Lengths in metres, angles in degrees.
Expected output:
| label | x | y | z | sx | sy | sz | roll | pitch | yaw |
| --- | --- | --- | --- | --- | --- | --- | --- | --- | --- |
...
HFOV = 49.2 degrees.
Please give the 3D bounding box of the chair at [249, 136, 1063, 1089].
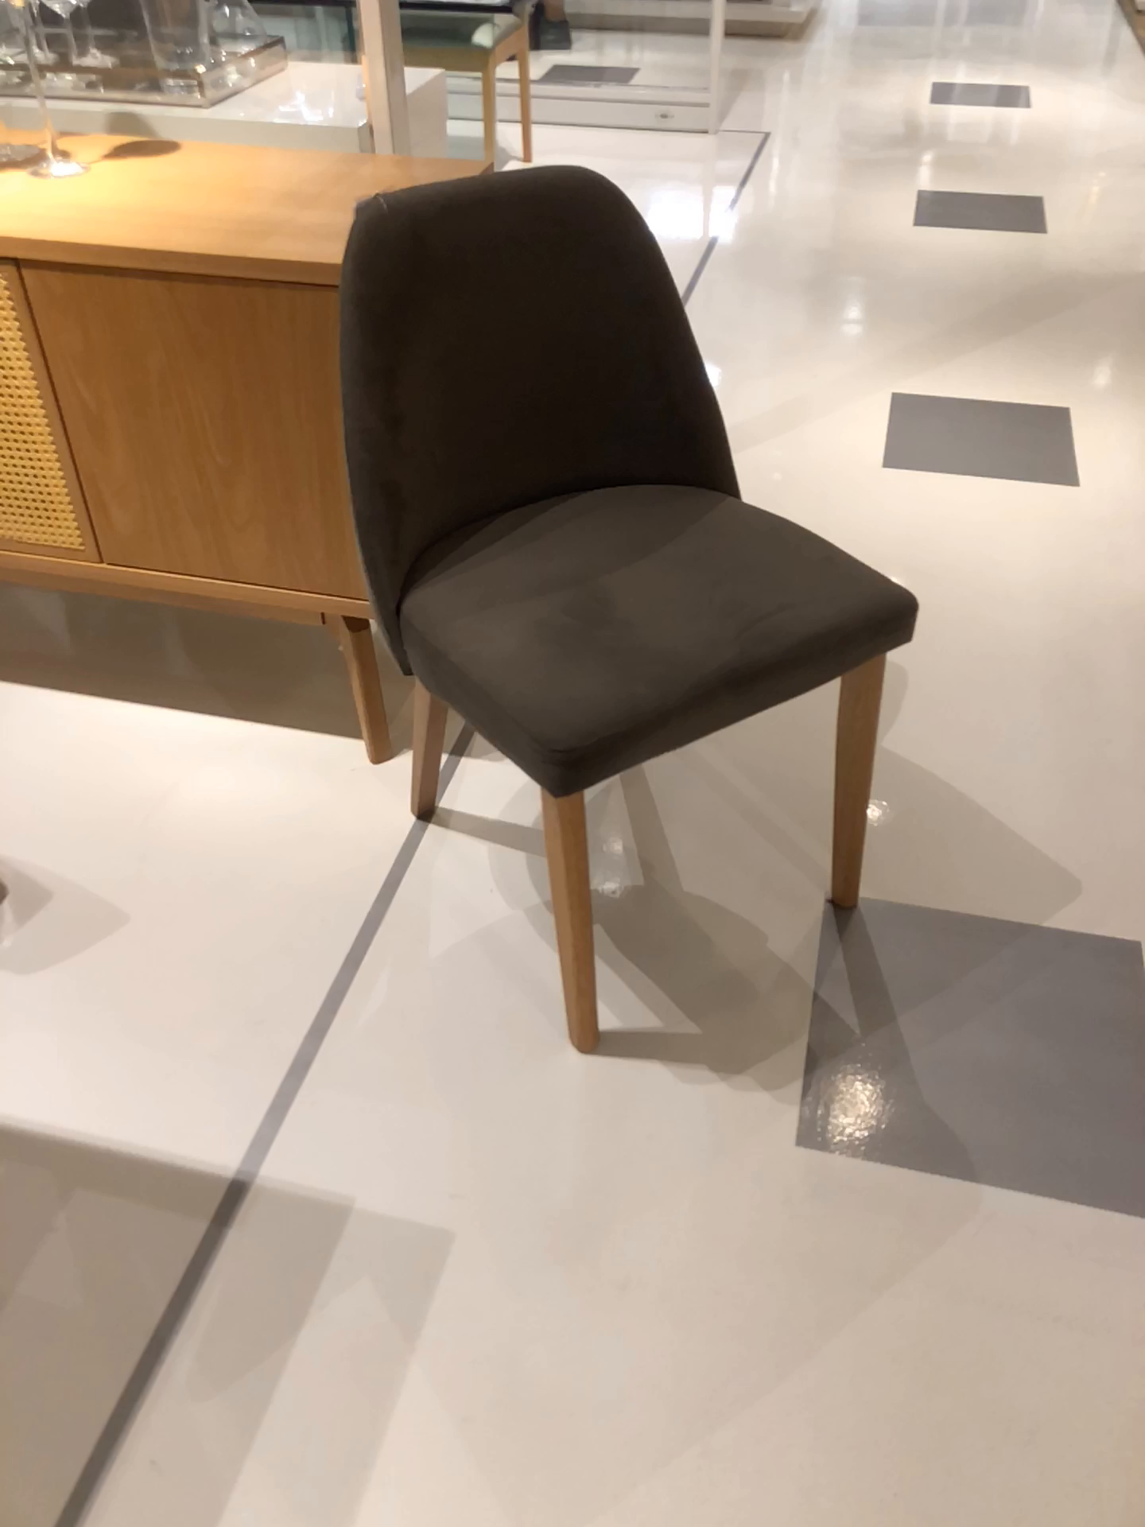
| label | x | y | z | sx | sy | sz | roll | pitch | yaw |
| --- | --- | --- | --- | --- | --- | --- | --- | --- | --- |
| chair | 0.063 | -0.191 | 1.409 | 0.531 | 0.774 | 0.563 | -23 | 44 | -24 |
